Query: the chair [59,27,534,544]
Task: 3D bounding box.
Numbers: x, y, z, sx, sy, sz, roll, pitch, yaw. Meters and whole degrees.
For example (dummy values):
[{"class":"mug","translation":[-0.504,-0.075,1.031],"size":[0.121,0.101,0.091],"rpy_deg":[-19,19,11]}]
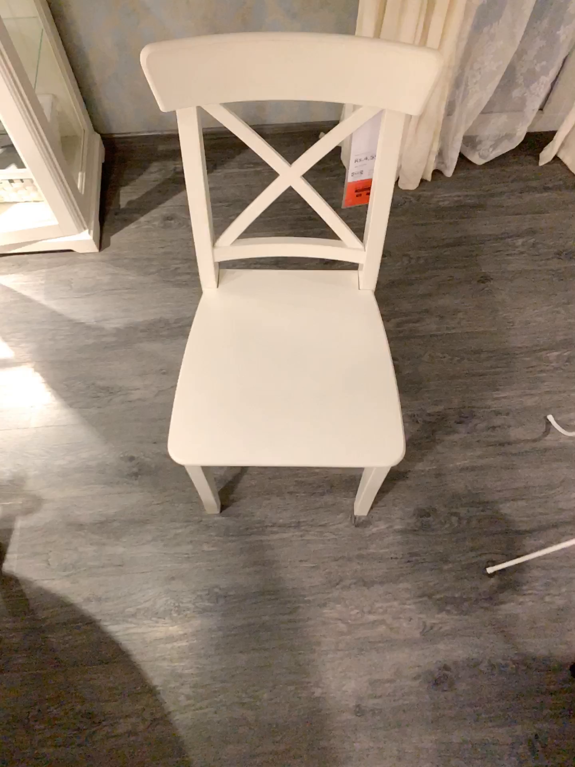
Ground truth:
[{"class":"chair","translation":[0.004,-0.059,1.036],"size":[0.450,0.809,0.541],"rpy_deg":[-1,66,-1]}]
